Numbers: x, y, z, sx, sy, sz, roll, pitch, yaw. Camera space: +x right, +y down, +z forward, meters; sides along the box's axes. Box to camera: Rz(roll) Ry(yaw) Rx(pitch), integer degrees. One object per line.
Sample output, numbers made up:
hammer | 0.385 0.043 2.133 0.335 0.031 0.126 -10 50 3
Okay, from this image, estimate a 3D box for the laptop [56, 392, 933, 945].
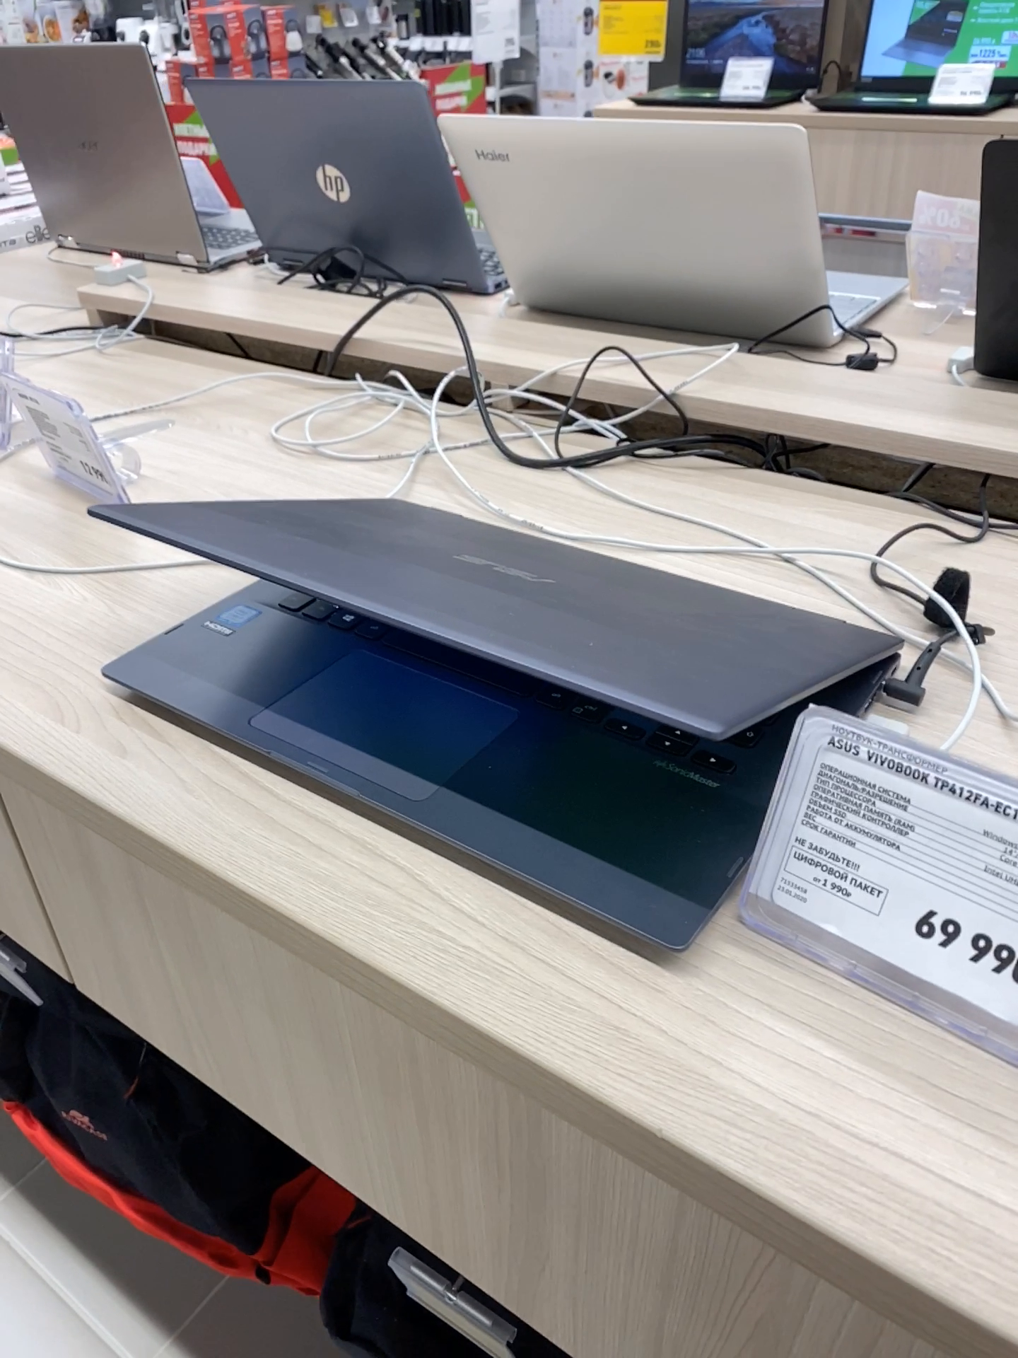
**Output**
laptop | -0.008 -0.041 0.496 0.331 0.079 0.226 19 39 30
